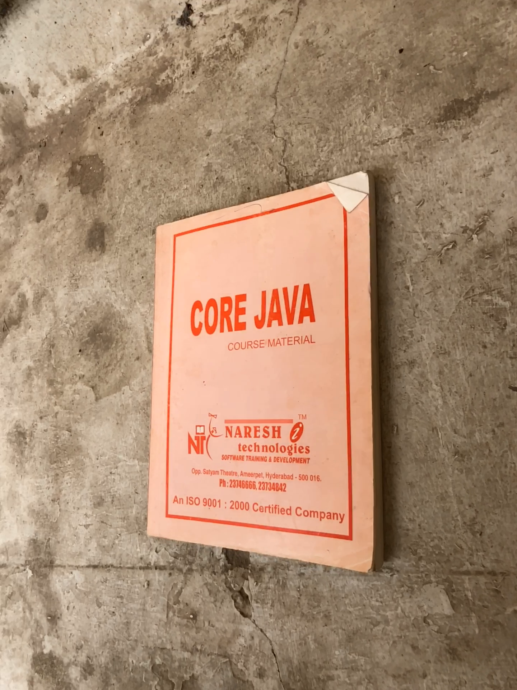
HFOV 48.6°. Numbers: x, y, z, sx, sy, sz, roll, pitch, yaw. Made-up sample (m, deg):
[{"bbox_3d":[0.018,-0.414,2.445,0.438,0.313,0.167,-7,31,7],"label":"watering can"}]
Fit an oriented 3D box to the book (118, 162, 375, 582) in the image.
[{"bbox_3d":[-0.017,0.019,0.421,0.201,0.030,0.260,-6,78,35],"label":"book"}]
